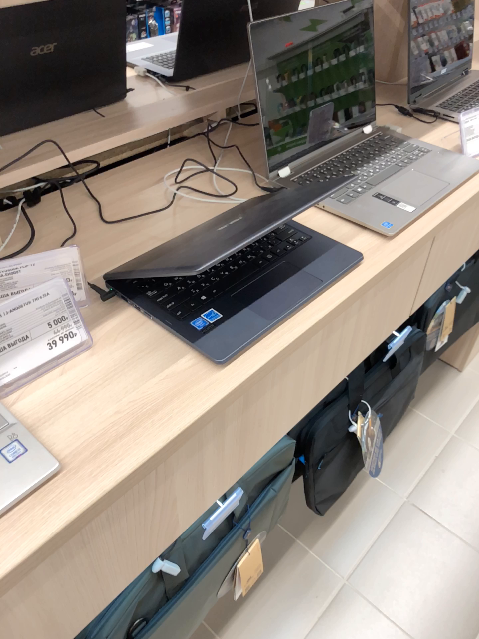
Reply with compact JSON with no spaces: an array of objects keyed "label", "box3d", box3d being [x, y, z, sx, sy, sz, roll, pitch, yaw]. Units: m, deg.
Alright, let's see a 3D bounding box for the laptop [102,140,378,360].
[{"label":"laptop","box3d":[0.007,-0.103,0.638,0.185,0.097,0.272,33,49,29]}]
